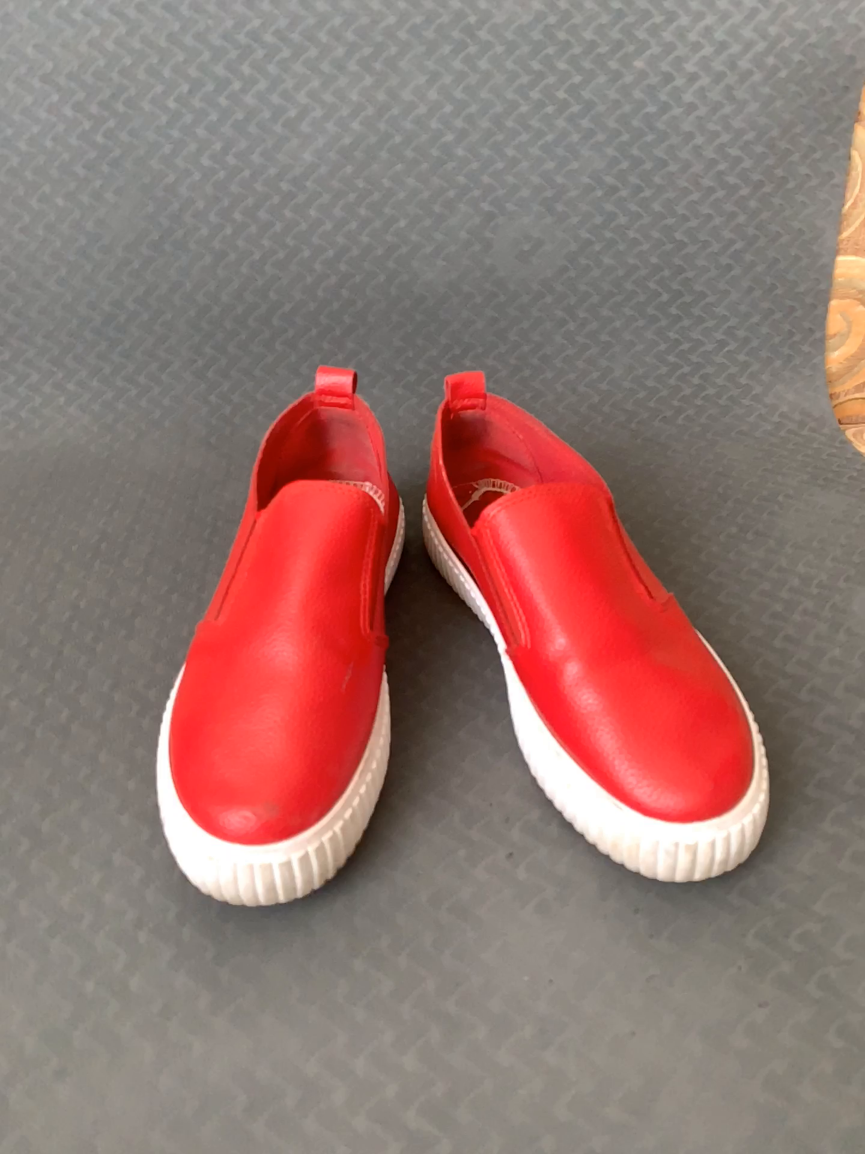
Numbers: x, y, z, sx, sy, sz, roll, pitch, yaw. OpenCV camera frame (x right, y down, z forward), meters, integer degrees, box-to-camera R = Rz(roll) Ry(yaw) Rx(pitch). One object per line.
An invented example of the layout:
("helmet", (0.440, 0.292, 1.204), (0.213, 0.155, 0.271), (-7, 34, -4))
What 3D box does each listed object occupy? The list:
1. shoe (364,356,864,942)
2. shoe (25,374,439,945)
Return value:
("shoe", (0.056, 0.005, 0.360), (0.095, 0.070, 0.241), (-14, 45, -15))
("shoe", (-0.057, 0.012, 0.361), (0.095, 0.070, 0.241), (4, 43, 4))
